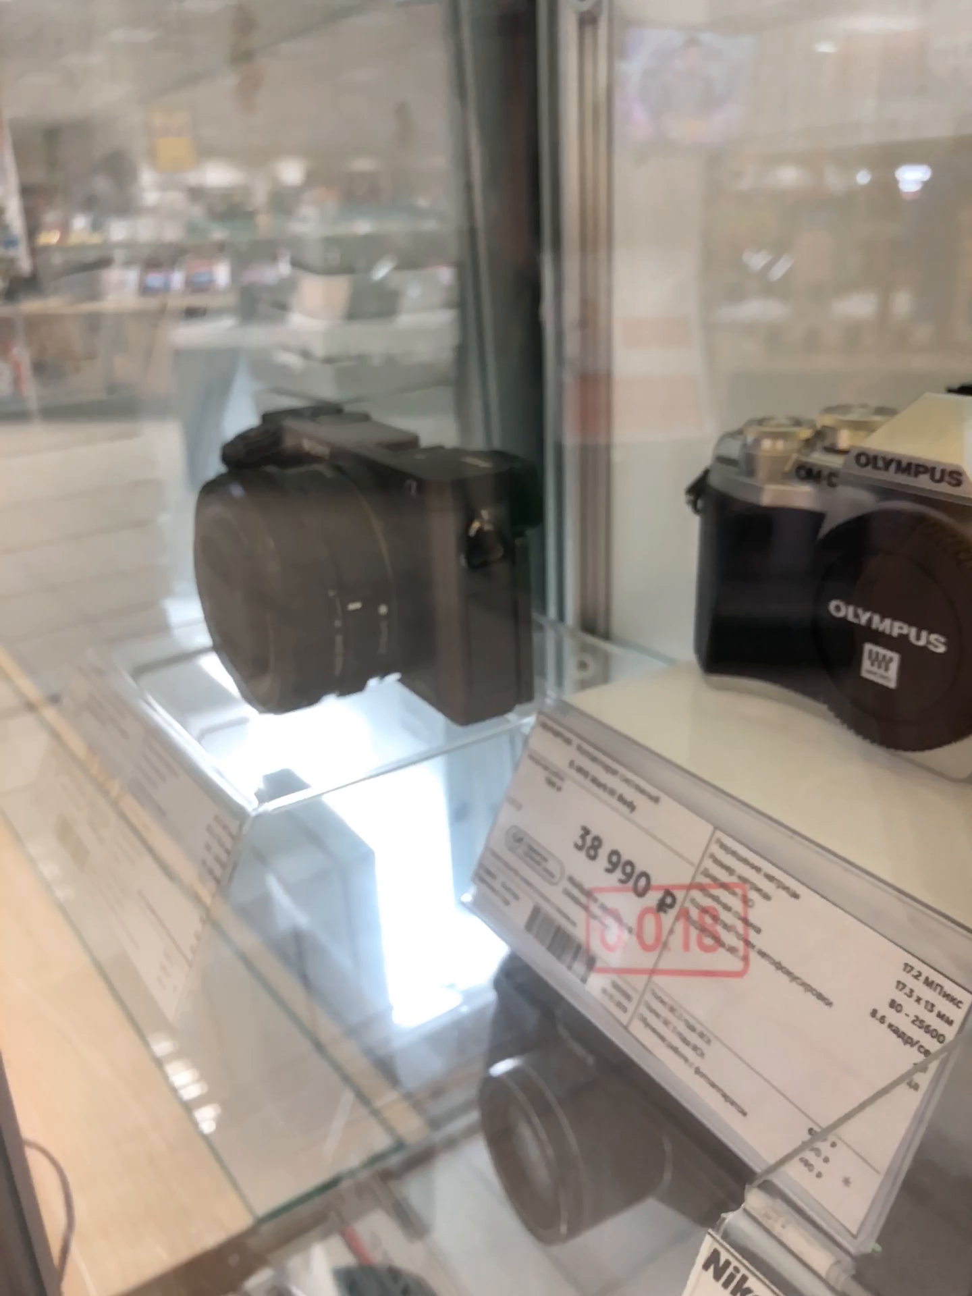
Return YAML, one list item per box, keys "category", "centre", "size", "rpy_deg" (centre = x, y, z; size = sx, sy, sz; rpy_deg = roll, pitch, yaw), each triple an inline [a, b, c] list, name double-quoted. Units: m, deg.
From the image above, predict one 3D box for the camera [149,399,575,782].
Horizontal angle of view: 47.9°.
- category: "camera"
  centre: [-0.041, -0.026, 0.317]
  size: [0.066, 0.070, 0.130]
  rpy_deg: [-15, 24, -29]

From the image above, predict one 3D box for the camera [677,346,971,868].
- category: "camera"
  centre: [0.121, -0.023, 0.264]
  size: [0.087, 0.081, 0.123]
  rpy_deg: [-15, 24, -29]
